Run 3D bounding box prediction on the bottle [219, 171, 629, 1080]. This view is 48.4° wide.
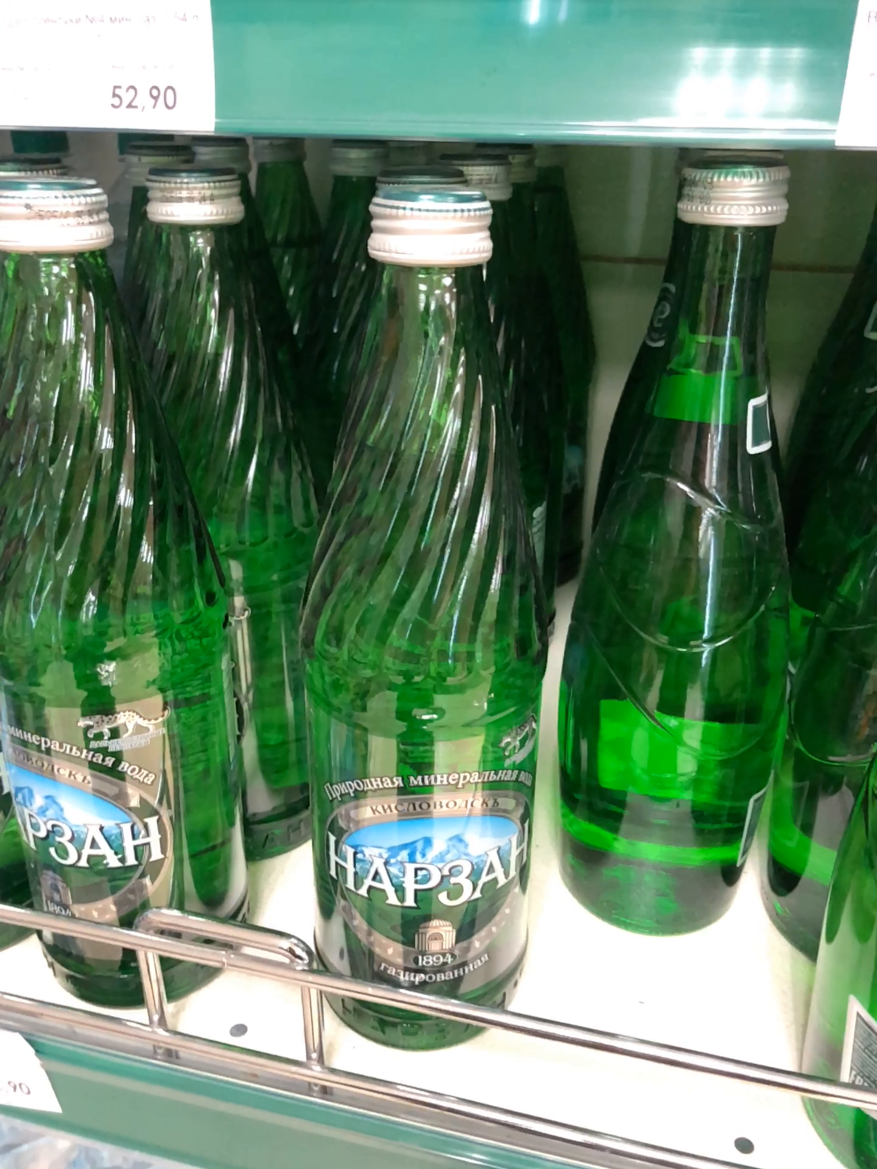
[{"bbox_3d":[0.000,0.019,0.266,0.080,0.240,0.060,5,26,9],"label":"bottle"}]
